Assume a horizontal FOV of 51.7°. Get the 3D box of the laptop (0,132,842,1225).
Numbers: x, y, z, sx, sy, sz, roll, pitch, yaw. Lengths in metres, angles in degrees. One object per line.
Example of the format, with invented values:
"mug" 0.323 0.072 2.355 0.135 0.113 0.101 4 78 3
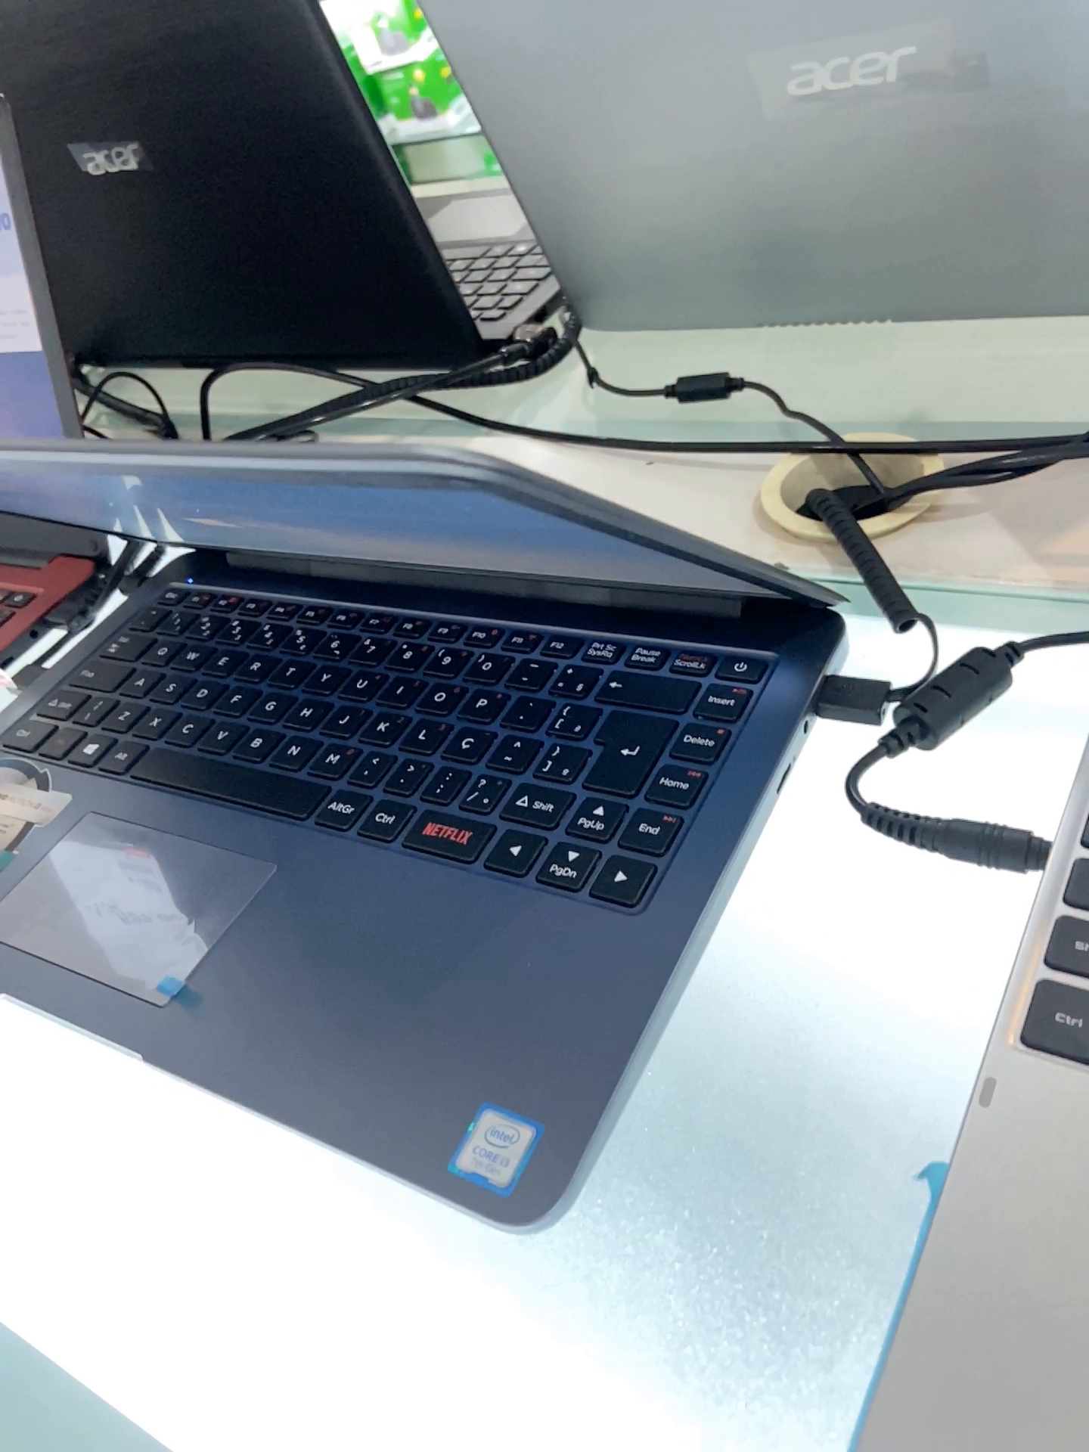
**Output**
"laptop" -0.107 -0.040 0.338 0.317 0.145 0.211 9 48 32
